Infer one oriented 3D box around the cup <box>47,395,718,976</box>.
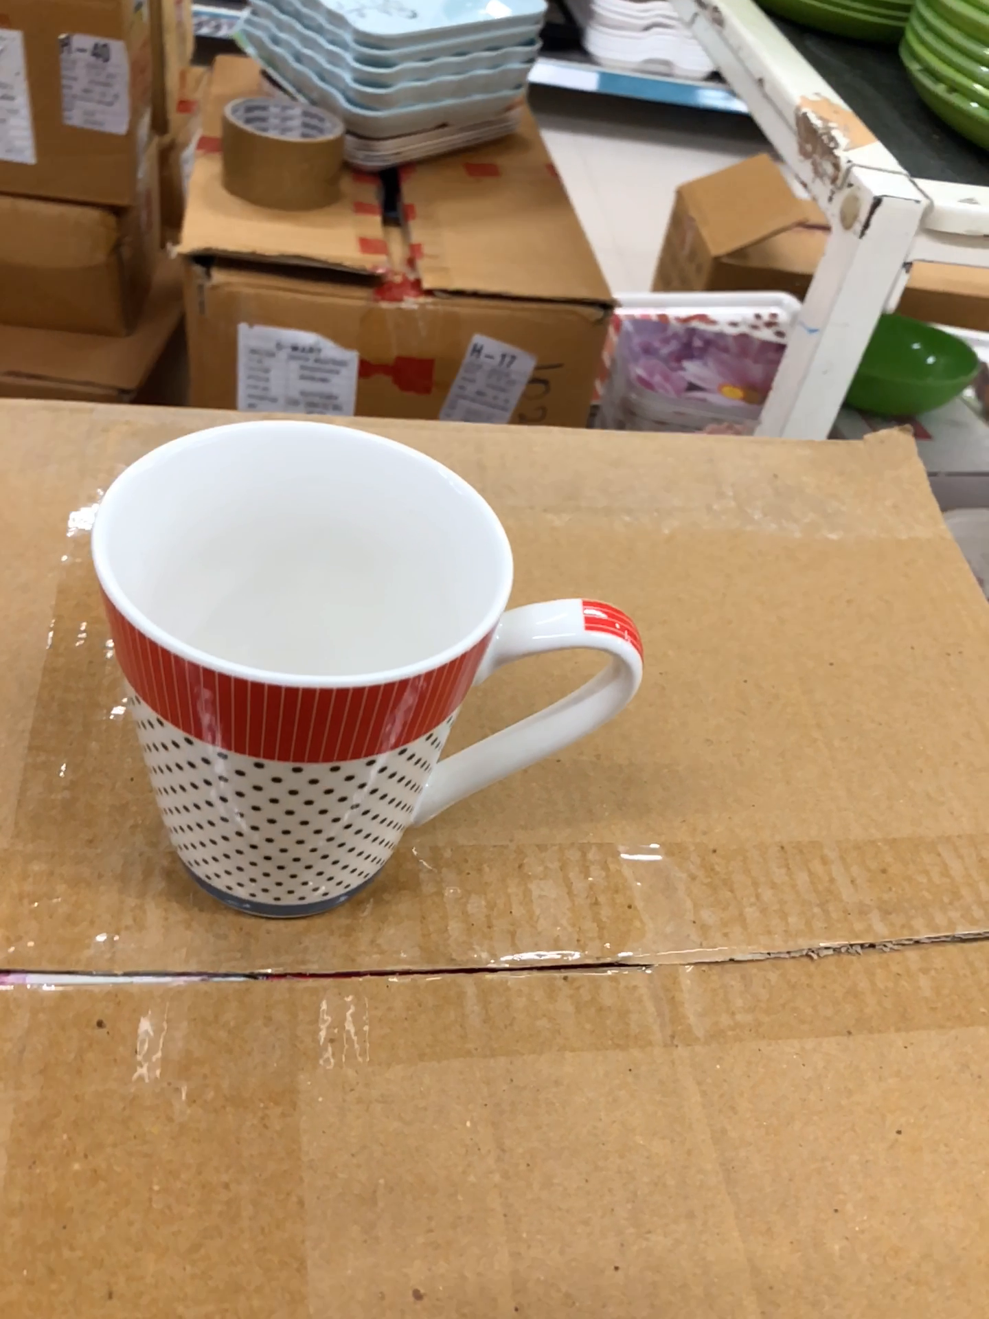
[{"bbox_3d":[-0.031,0.003,0.256,0.120,0.089,0.090,-2,46,-15],"label":"cup"}]
